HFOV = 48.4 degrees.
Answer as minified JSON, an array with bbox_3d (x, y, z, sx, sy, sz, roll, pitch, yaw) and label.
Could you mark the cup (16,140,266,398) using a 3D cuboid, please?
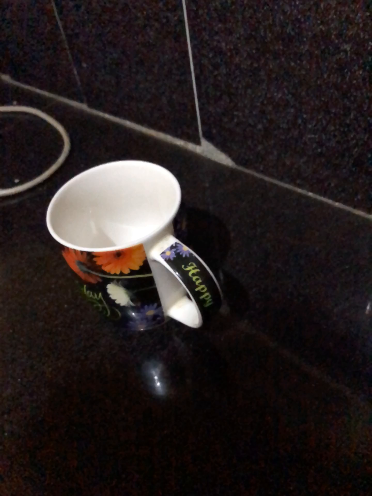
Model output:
[{"bbox_3d":[-0.027,0.007,0.280,0.090,0.089,0.130,-38,51,-24],"label":"cup"}]
